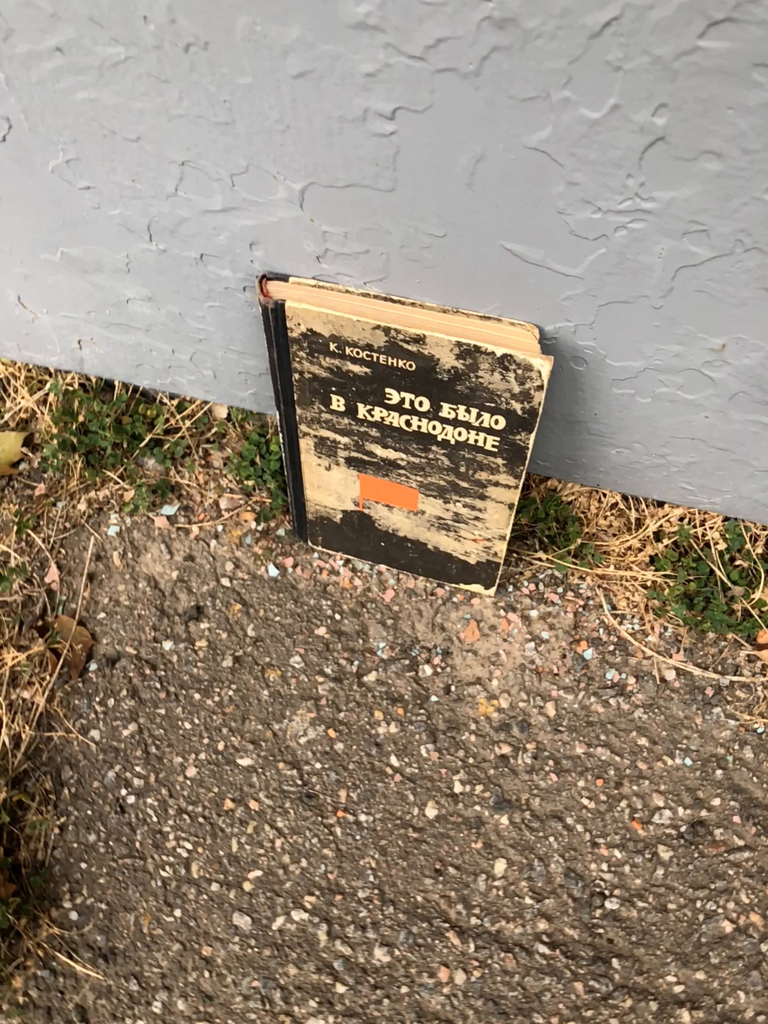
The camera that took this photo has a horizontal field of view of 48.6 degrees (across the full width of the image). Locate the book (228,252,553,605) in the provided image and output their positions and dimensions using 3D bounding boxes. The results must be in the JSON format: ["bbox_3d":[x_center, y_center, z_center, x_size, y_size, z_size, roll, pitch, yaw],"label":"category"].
[{"bbox_3d":[0.002,-0.033,0.453,0.140,0.199,0.030,15,55,11],"label":"book"}]
